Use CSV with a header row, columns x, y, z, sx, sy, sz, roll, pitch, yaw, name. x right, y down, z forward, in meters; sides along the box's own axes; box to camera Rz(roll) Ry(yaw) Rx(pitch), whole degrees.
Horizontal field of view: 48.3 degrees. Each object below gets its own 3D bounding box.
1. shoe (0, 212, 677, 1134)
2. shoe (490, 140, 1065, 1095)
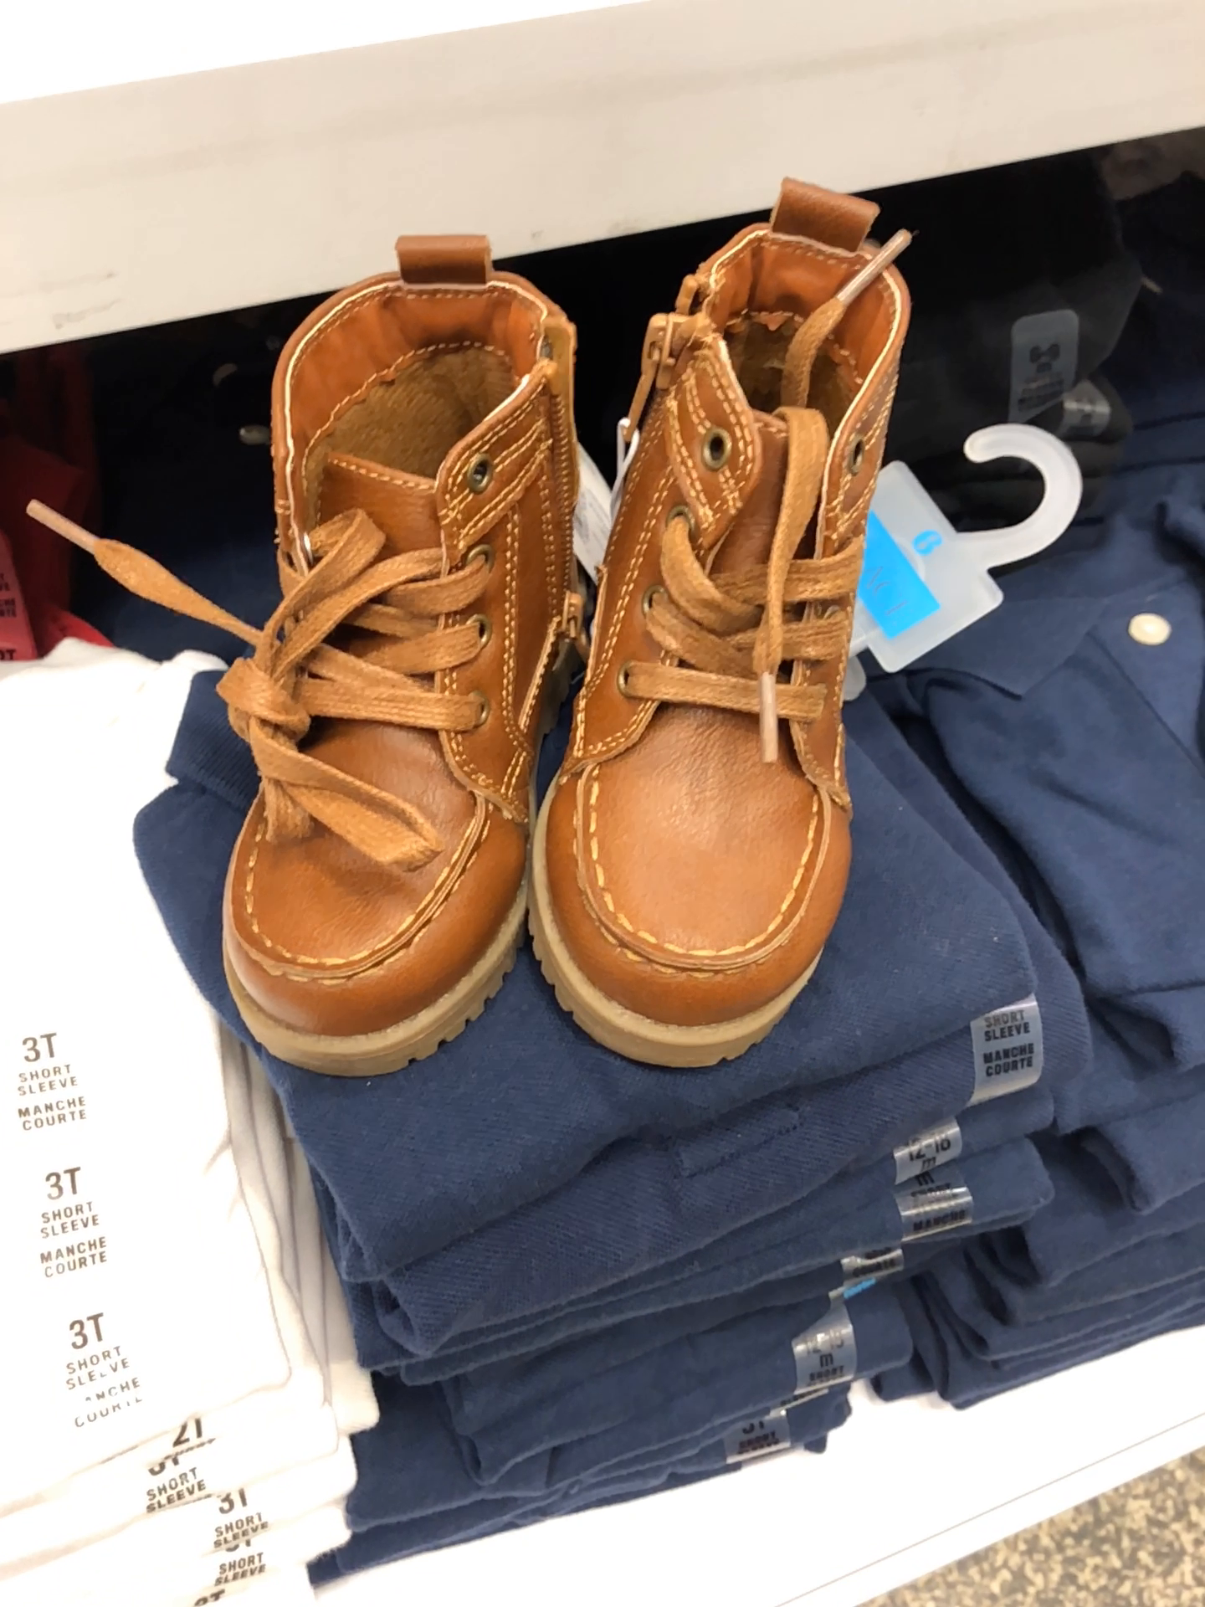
x,y,z,sx,sy,sz,roll,pitch,yaw,name
-0.043,-0.031,0.277,0.080,0.101,0.151,10,54,13,shoe
0.032,-0.041,0.279,0.080,0.101,0.161,9,54,0,shoe
